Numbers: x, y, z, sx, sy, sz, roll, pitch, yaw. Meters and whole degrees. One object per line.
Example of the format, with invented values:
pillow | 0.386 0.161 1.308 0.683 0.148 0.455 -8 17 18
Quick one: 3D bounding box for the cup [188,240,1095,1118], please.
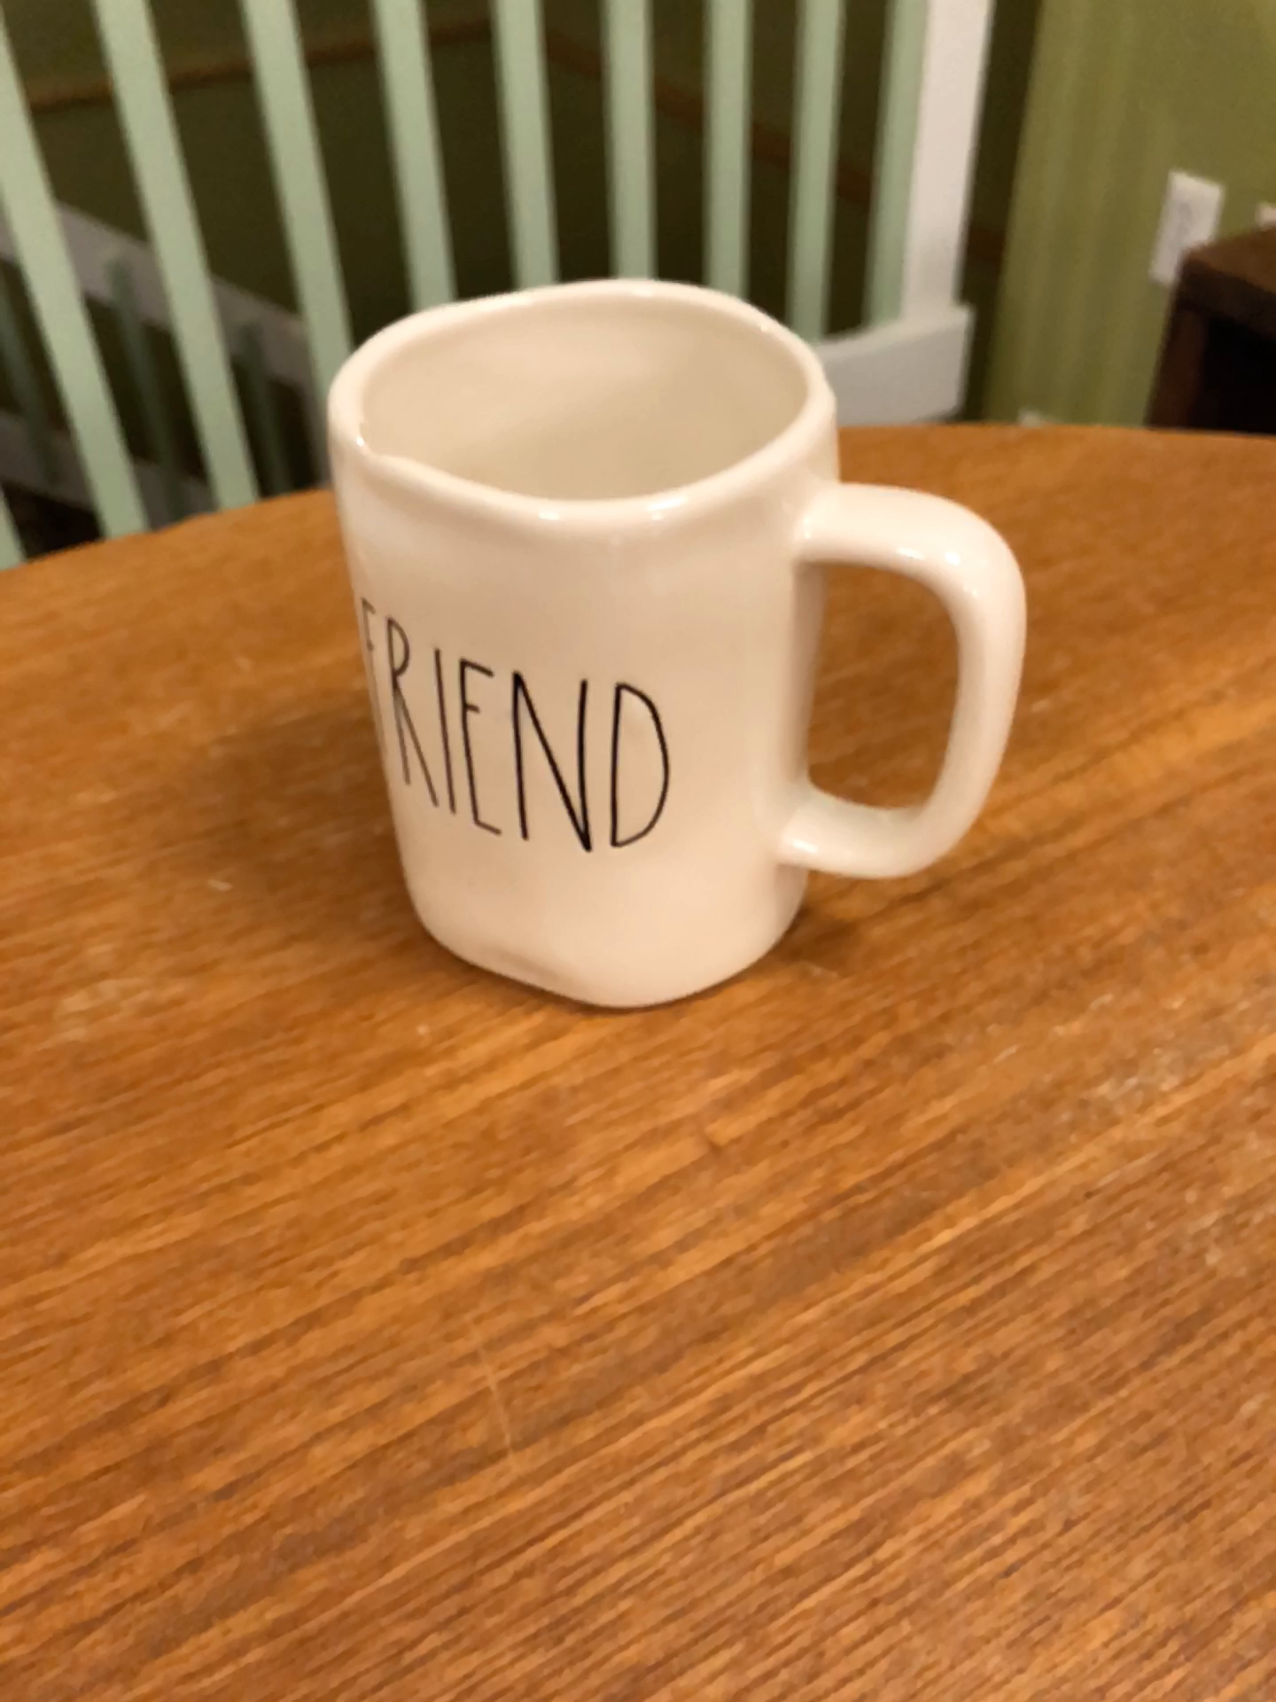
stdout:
cup | 0.005 -0.035 0.271 0.124 0.114 0.084 16 45 18
